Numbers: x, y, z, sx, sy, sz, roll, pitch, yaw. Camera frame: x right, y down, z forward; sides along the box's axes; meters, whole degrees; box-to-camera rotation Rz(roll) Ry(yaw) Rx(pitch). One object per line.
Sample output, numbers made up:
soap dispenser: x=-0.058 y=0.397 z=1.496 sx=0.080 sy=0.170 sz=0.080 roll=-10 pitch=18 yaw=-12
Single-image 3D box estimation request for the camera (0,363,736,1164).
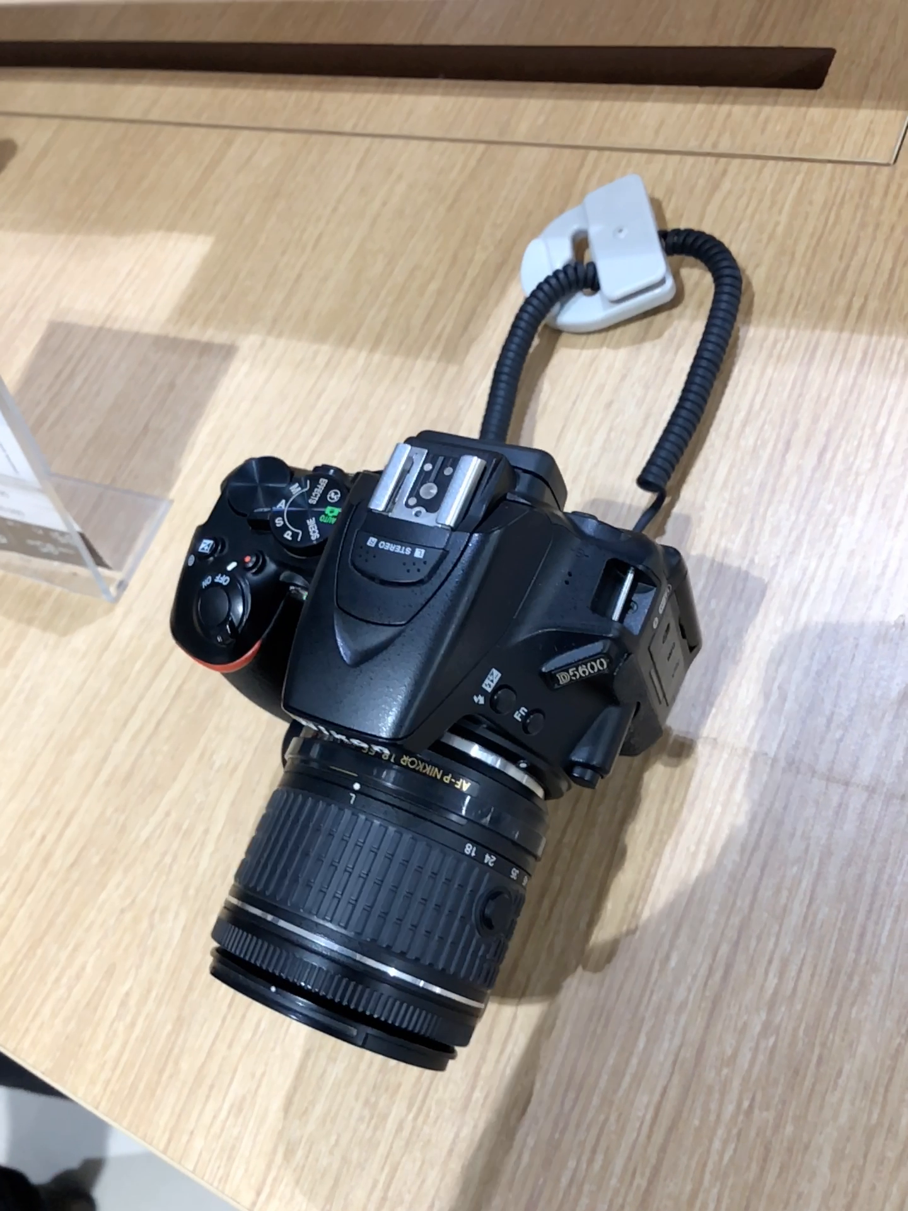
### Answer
camera: x=-0.018 y=0.027 z=0.225 sx=0.120 sy=0.070 sz=0.130 roll=14 pitch=69 yaw=25
